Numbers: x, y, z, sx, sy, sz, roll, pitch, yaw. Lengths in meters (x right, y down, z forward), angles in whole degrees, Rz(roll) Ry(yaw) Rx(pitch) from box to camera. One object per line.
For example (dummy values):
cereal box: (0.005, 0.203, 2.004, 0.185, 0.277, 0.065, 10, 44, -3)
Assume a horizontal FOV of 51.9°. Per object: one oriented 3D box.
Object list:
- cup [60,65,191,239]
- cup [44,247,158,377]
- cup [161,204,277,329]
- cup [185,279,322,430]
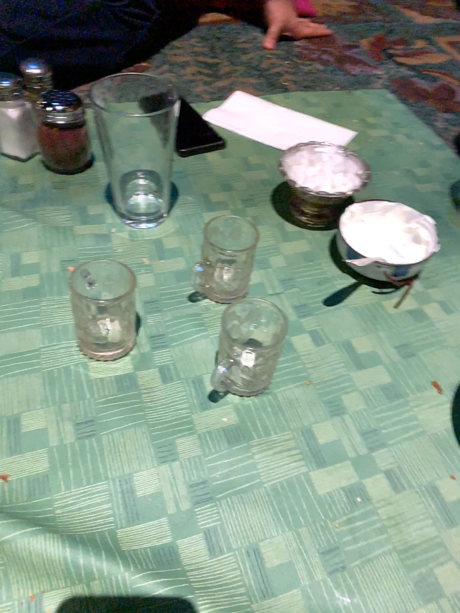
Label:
cup: (-0.111, -0.170, 0.520, 0.100, 0.129, 0.111, -17, 53, -19)
cup: (-0.106, 0.003, 0.392, 0.070, 0.050, 0.080, -15, 53, -18)
cup: (-0.010, -0.039, 0.444, 0.060, 0.060, 0.090, 34, 55, 22)
cup: (0.017, 0.039, 0.393, 0.090, 0.070, 0.060, -33, 60, -29)
